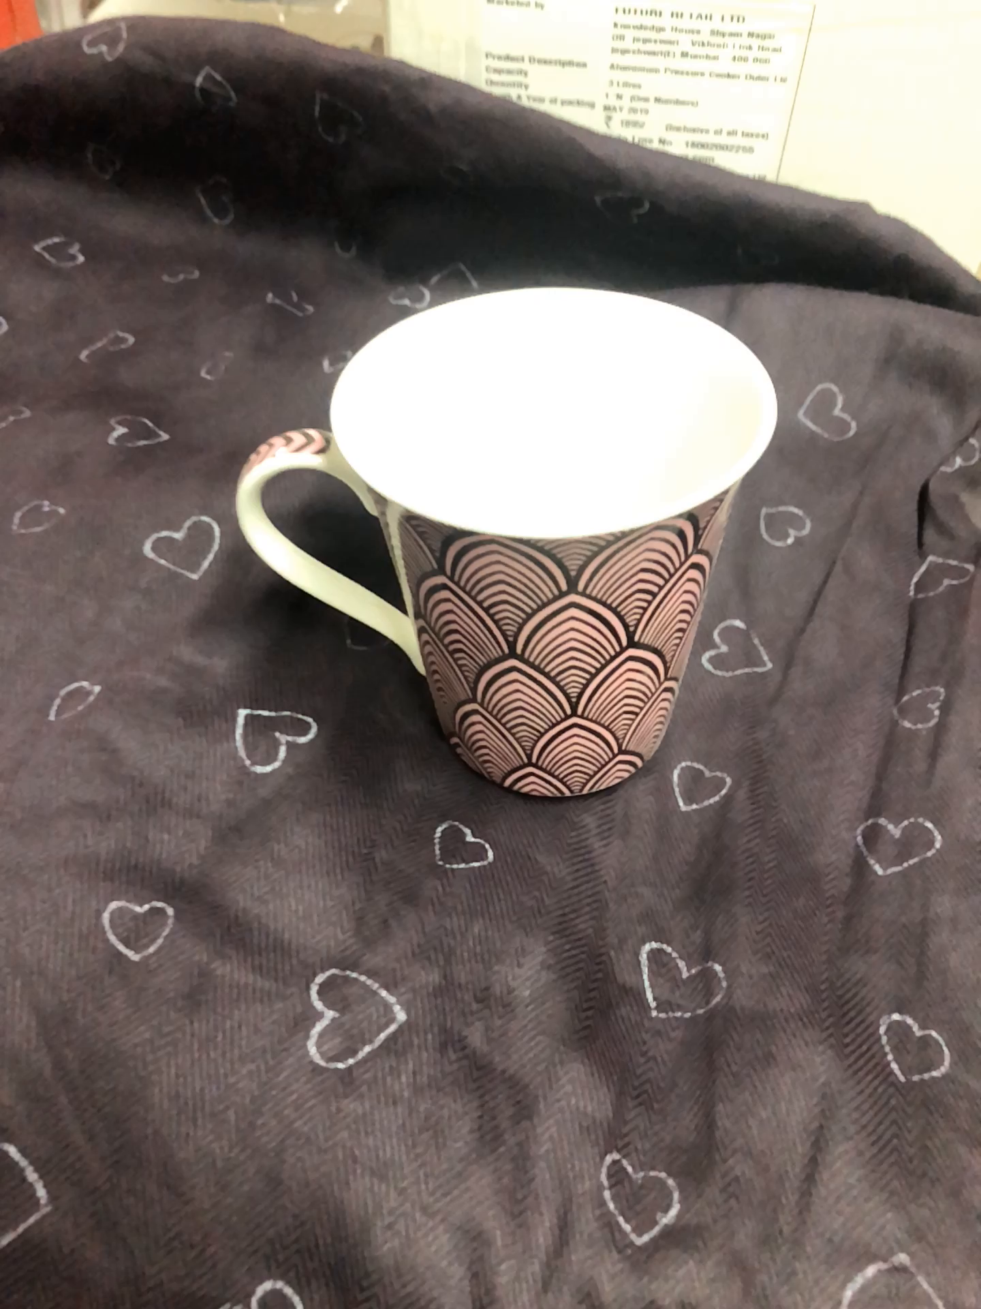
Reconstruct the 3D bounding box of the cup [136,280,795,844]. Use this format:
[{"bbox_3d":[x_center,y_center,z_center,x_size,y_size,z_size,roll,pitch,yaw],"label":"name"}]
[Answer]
[{"bbox_3d":[-0.001,-0.022,0.265,0.120,0.099,0.091,1,46,4],"label":"cup"}]
